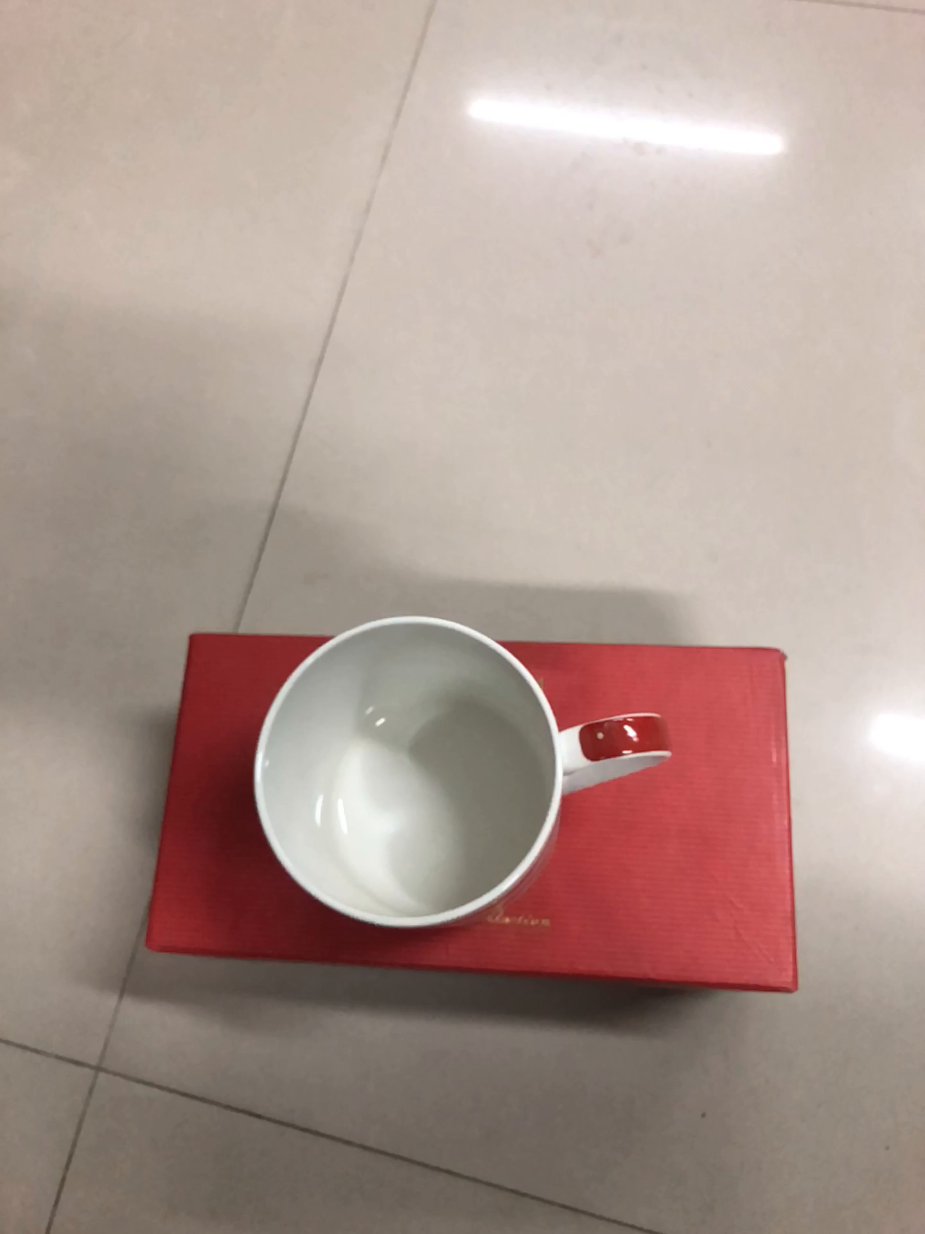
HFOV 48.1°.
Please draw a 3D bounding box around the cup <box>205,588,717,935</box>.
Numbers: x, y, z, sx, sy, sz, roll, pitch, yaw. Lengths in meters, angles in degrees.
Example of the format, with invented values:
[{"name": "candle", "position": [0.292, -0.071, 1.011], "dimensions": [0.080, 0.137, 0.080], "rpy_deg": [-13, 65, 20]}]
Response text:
[{"name": "cup", "position": [0.001, 0.051, 0.321], "dimensions": [0.130, 0.100, 0.080], "rpy_deg": [-5, 72, 4]}]
